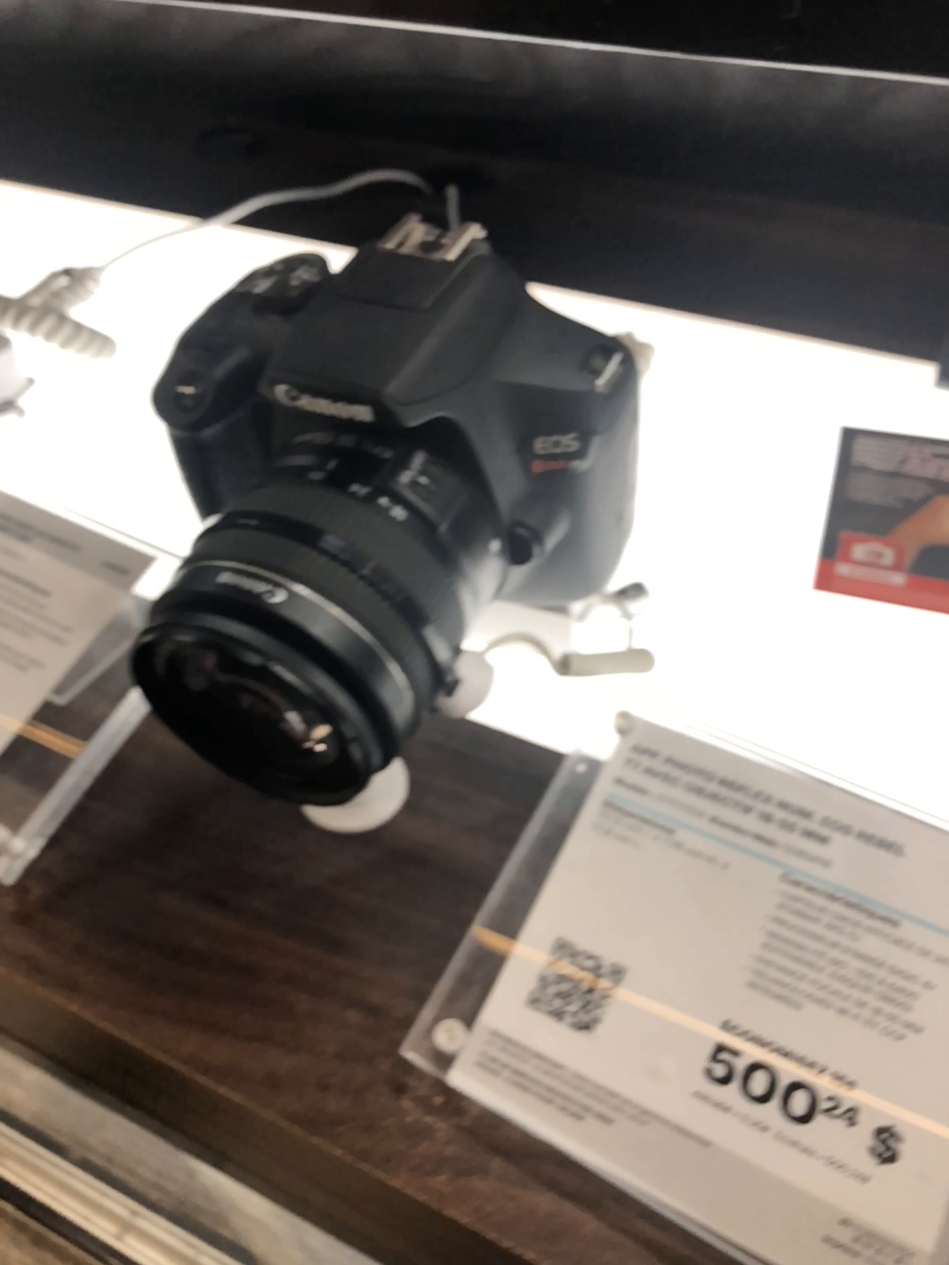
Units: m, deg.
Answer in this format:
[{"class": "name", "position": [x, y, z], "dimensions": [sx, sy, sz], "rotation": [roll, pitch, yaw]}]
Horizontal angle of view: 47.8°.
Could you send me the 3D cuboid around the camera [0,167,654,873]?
[{"class": "camera", "position": [-0.039, -0.035, 0.261], "dimensions": [0.129, 0.099, 0.112], "rotation": [16, 48, 20]}]
